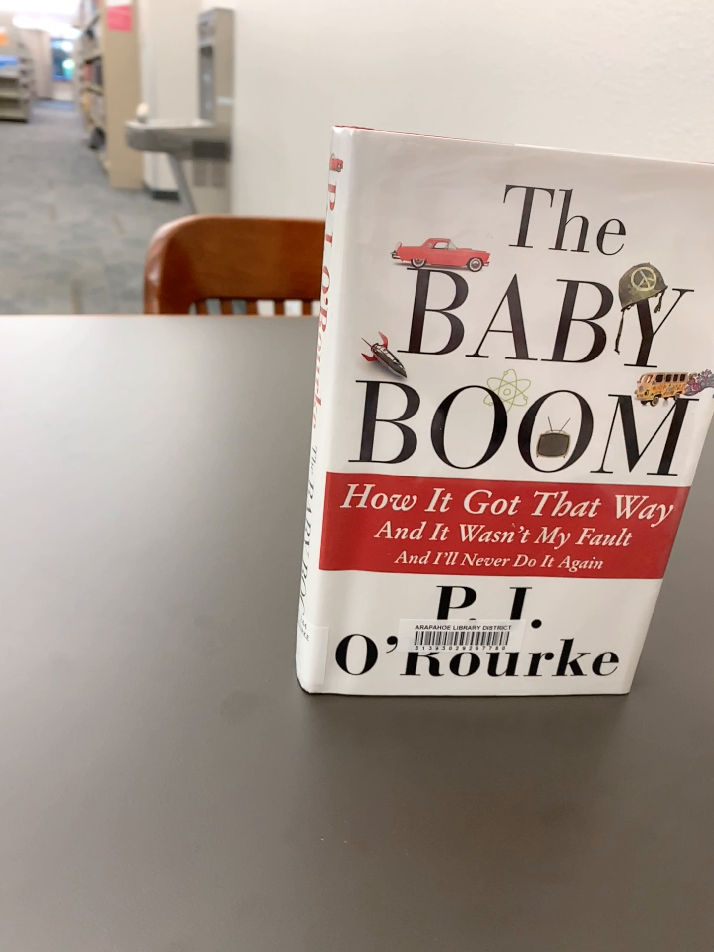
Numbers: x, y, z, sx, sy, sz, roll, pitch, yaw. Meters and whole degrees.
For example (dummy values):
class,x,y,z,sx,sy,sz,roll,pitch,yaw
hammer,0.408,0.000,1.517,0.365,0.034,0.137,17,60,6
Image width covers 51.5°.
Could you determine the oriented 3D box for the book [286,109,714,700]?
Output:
class,x,y,z,sx,sy,sz,roll,pitch,yaw
book,0.057,-0.013,0.301,0.160,0.231,0.030,2,23,-8
